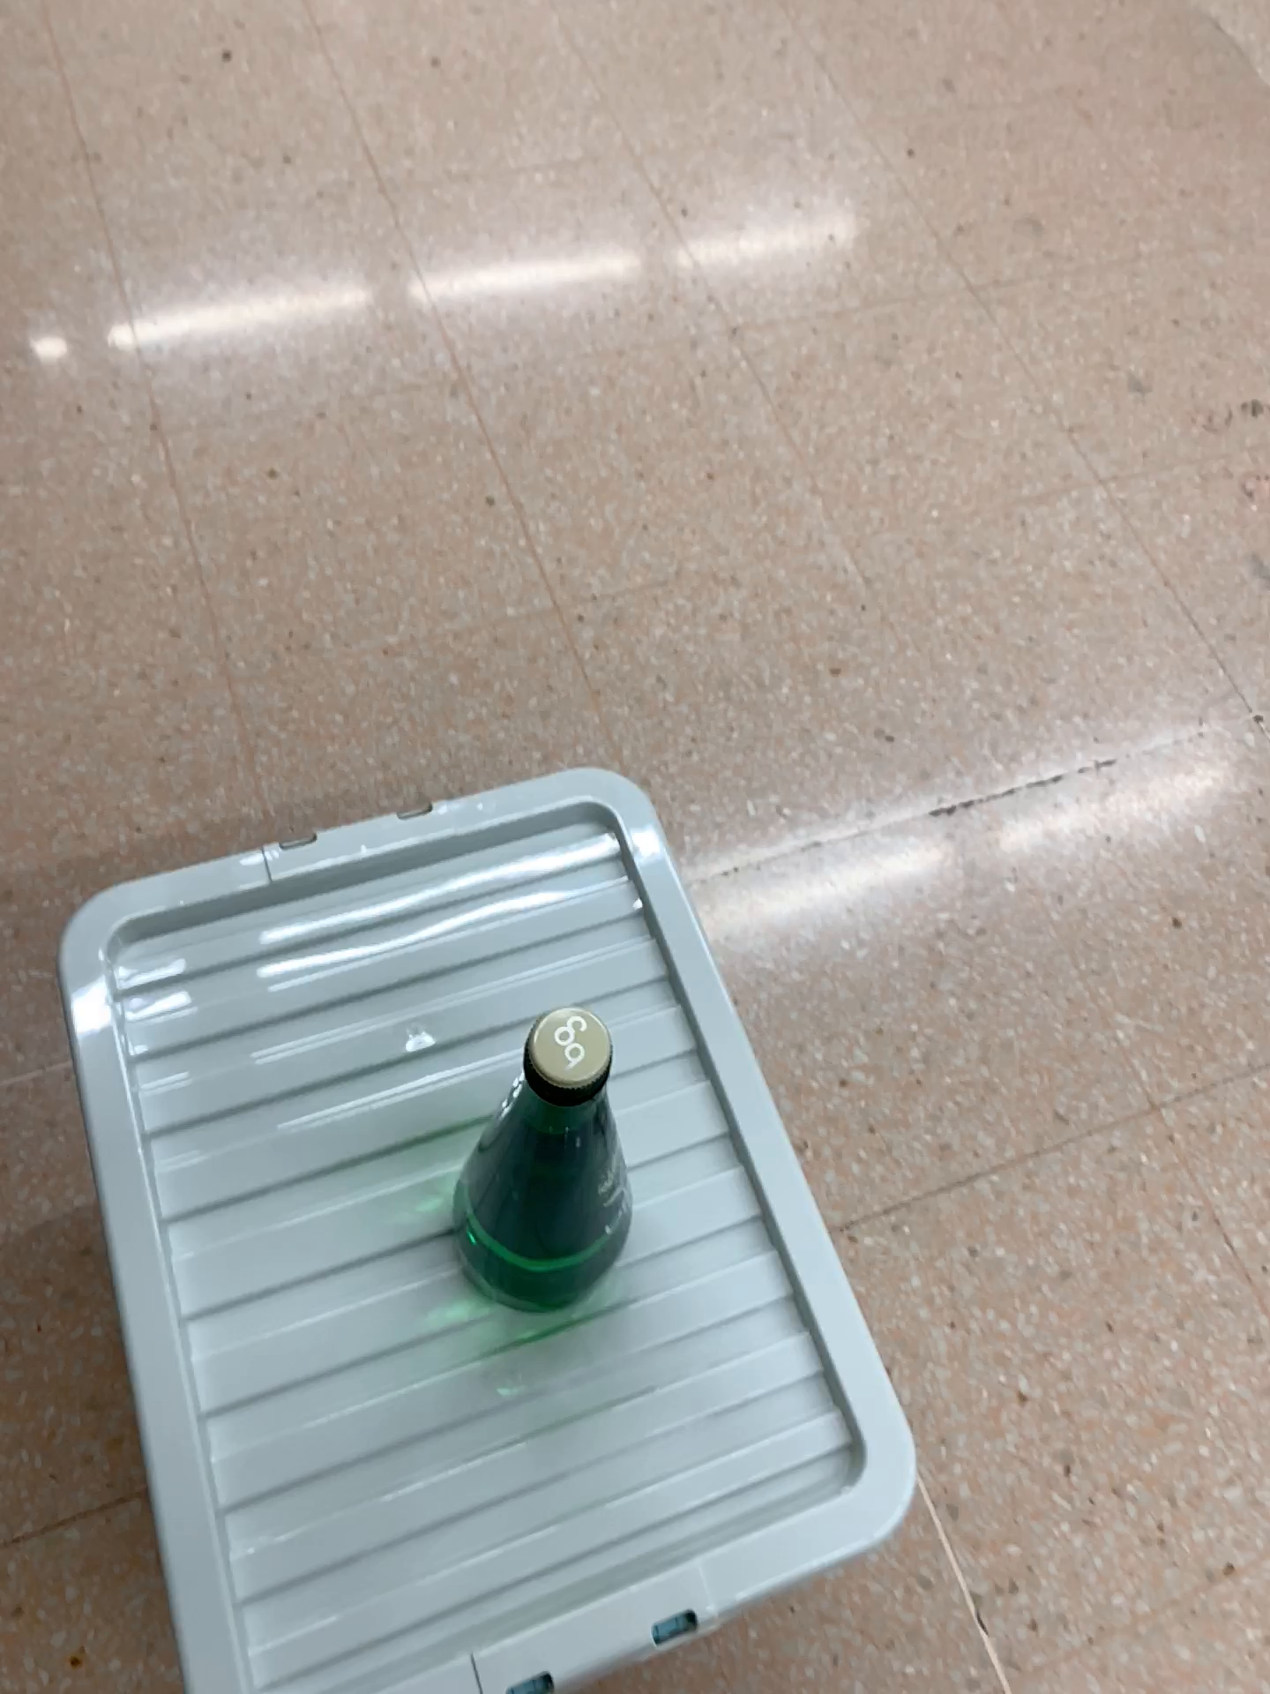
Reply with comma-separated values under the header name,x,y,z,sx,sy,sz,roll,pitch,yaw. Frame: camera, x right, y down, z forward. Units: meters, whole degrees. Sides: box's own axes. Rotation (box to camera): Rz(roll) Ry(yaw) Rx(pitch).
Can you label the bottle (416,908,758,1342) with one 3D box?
name,x,y,z,sx,sy,sz,roll,pitch,yaw
bottle,-0.032,0.134,0.546,0.093,0.298,0.084,-10,64,-12
